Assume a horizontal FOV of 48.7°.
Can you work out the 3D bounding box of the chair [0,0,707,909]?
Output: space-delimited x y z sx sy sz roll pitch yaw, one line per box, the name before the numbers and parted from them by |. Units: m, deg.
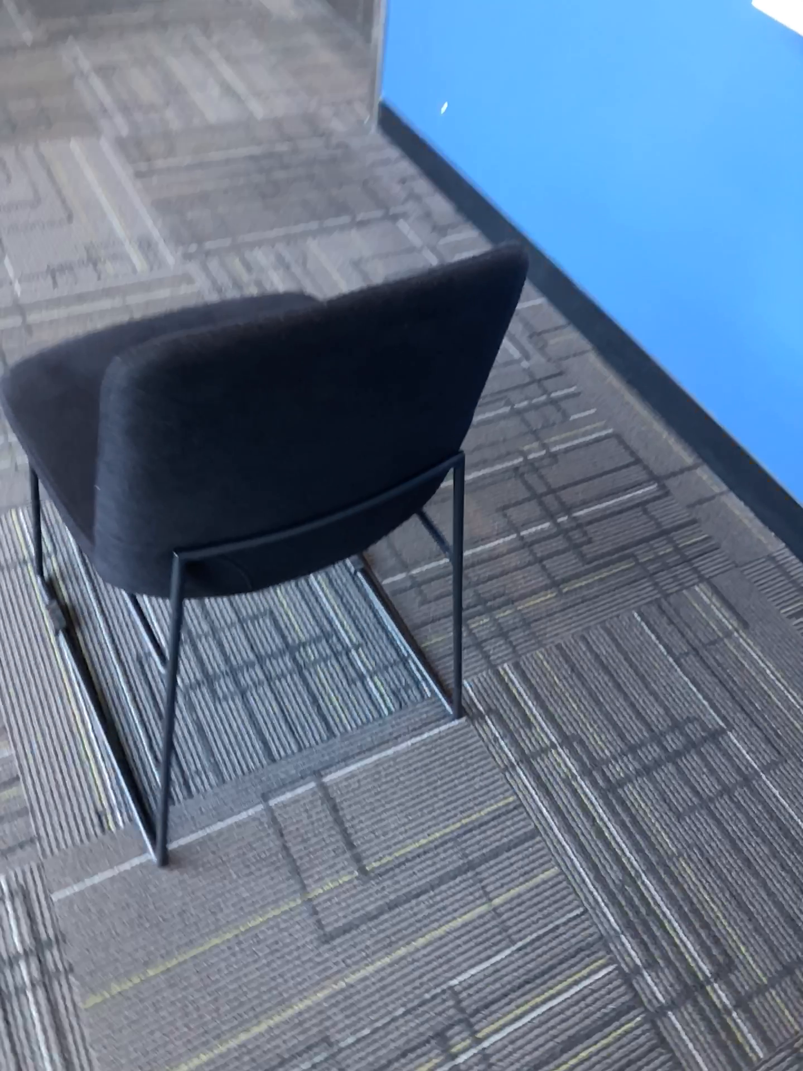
chair | -0.193 -0.105 0.976 0.561 0.767 0.552 -21 56 -23
